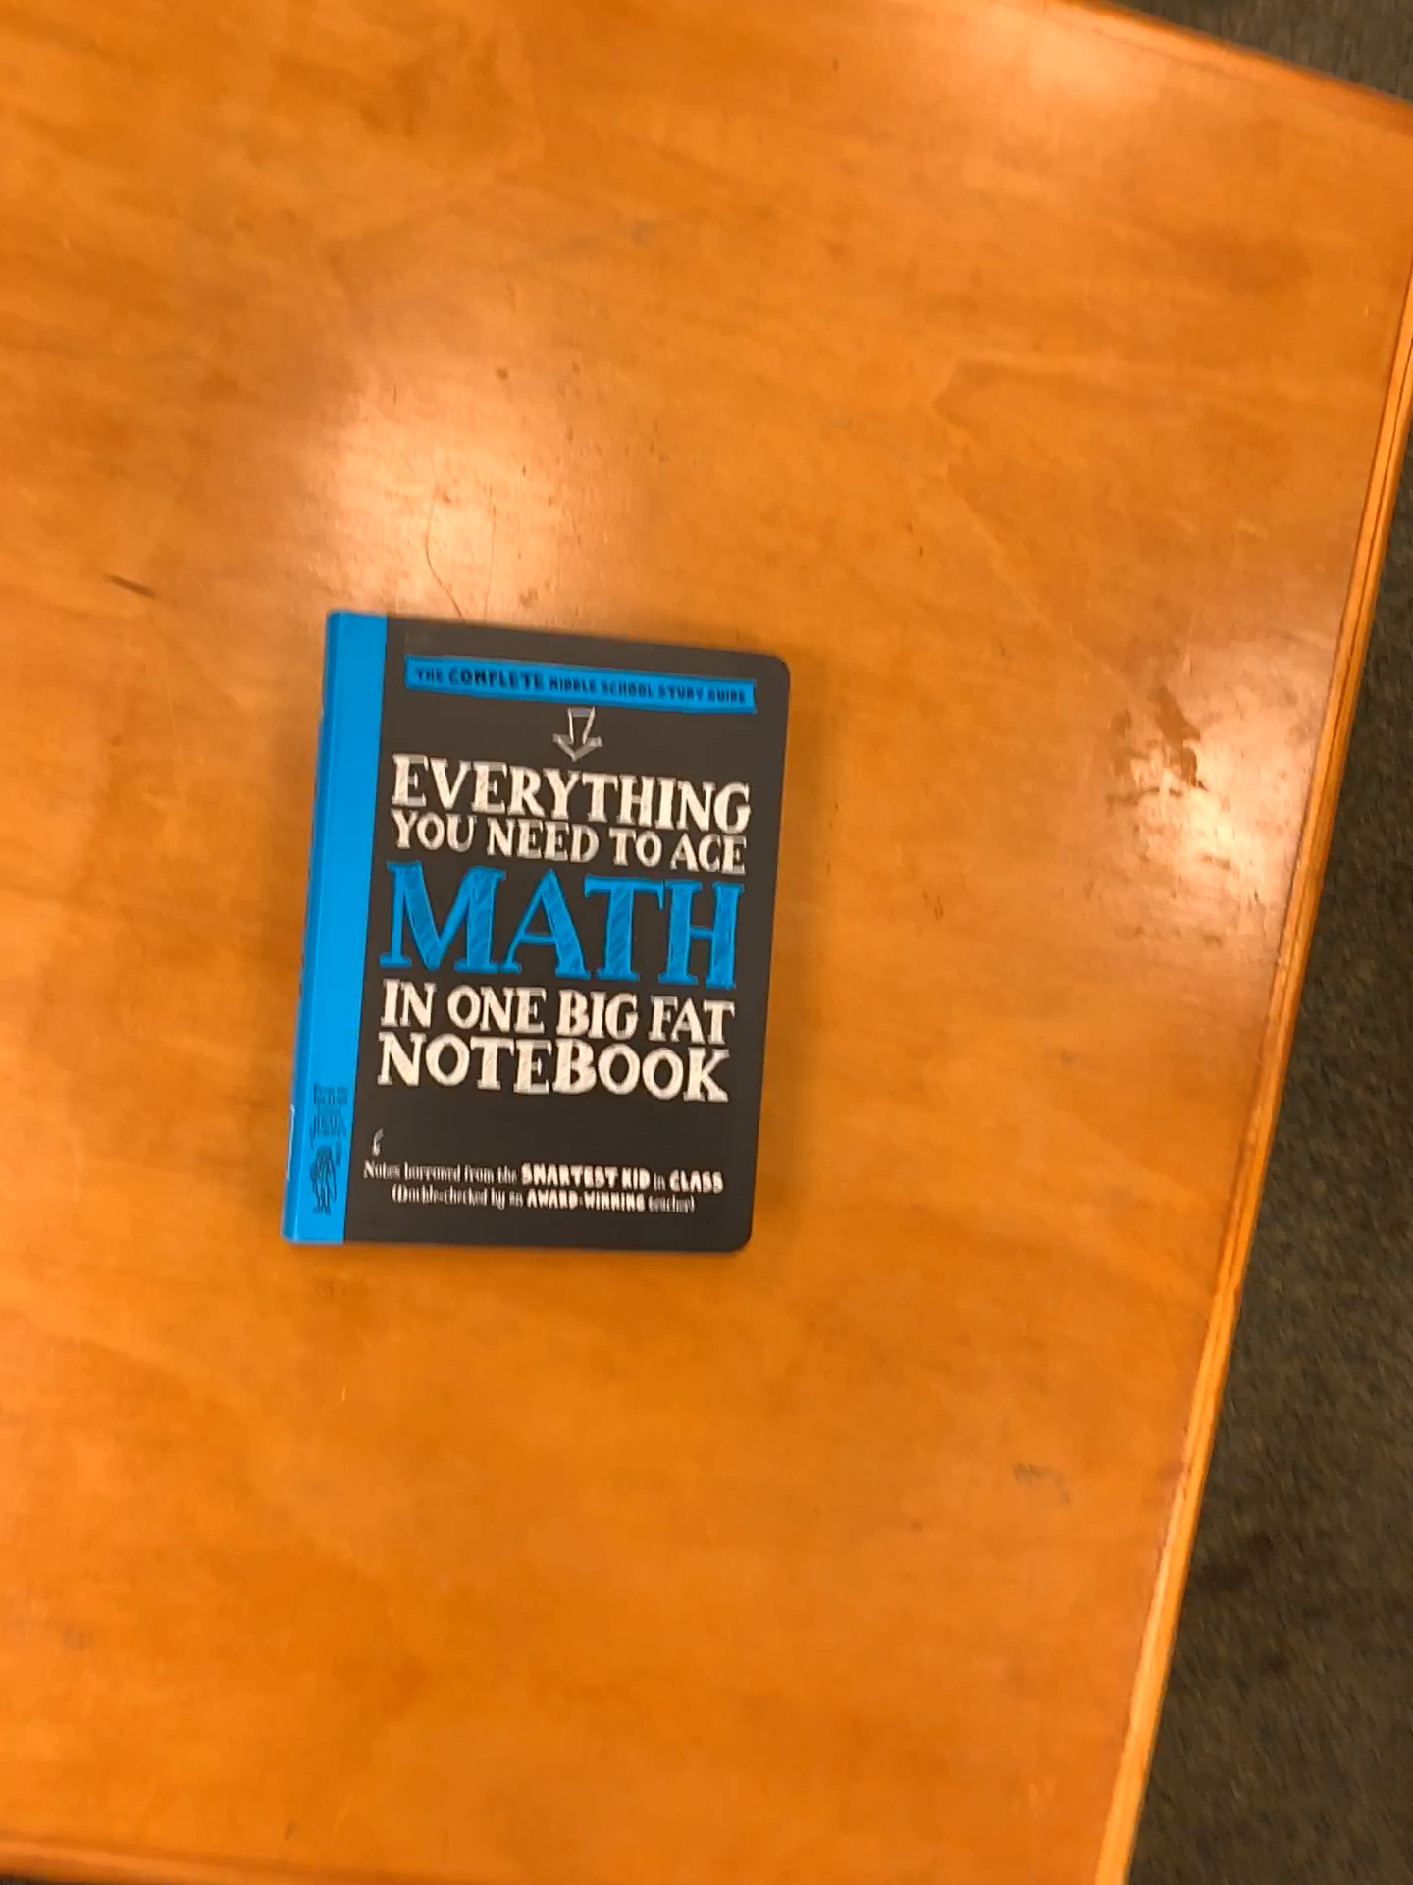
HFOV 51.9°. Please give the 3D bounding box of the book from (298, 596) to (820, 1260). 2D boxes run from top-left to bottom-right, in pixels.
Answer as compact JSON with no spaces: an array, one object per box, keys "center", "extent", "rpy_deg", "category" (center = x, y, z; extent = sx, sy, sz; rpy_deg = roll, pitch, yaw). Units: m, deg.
[{"center":[-0.051,-0.002,0.499],"extent":[0.157,0.050,0.208],"rpy_deg":[4,93,-11],"category":"book"}]
